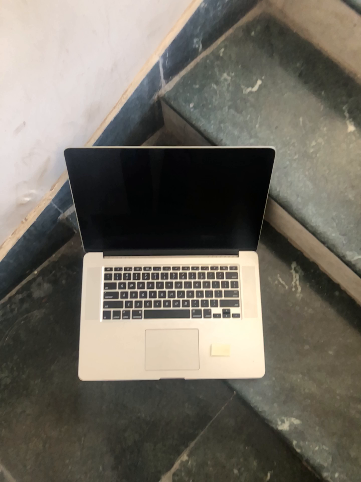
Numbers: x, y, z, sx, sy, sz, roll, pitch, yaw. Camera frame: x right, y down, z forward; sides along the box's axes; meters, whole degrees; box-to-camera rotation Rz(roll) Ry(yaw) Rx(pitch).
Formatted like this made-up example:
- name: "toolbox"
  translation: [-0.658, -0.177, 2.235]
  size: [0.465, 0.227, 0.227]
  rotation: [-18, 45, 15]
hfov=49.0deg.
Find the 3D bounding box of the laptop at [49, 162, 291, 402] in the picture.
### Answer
- name: "laptop"
  translation: [-0.021, 0.070, 0.697]
  size: [0.341, 0.195, 0.364]
  rotation: [-1, 75, -1]
